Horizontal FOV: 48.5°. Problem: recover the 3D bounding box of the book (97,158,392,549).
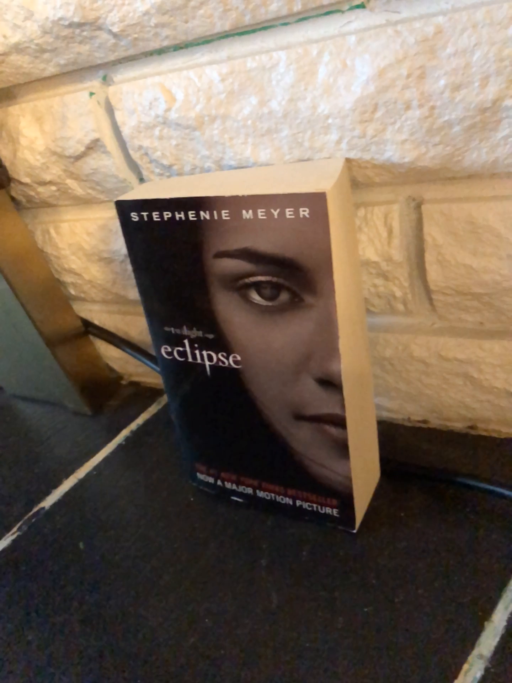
[{"bbox_3d":[0.001,0.009,0.285,0.106,0.181,0.042,7,34,34],"label":"book"}]
